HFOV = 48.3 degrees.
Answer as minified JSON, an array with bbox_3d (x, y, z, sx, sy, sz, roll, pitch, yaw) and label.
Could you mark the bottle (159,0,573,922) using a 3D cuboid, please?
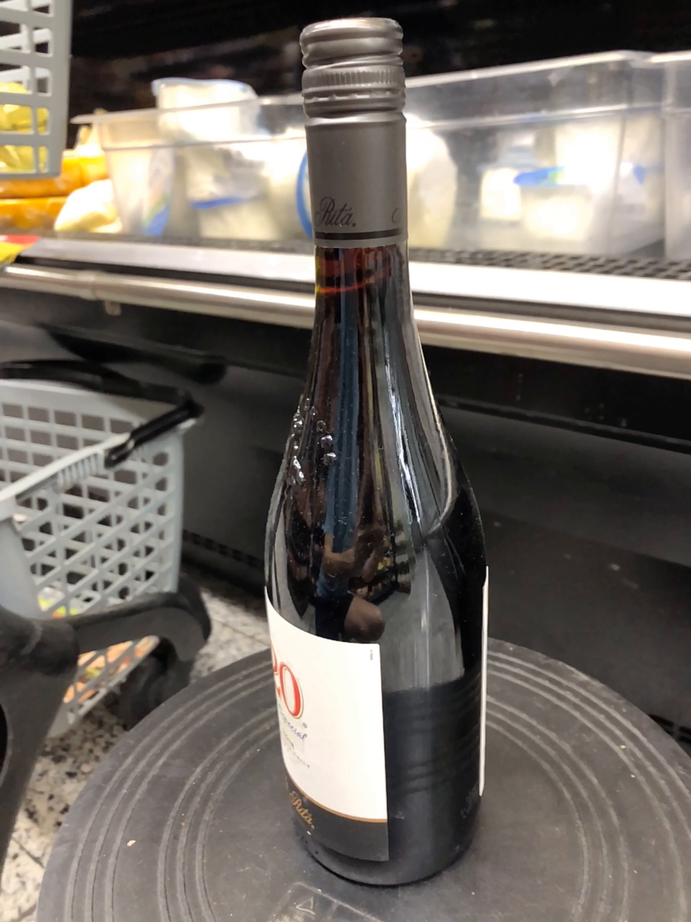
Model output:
[{"bbox_3d":[0.007,0.014,0.265,0.090,0.288,0.091,-4,23,1],"label":"bottle"}]
